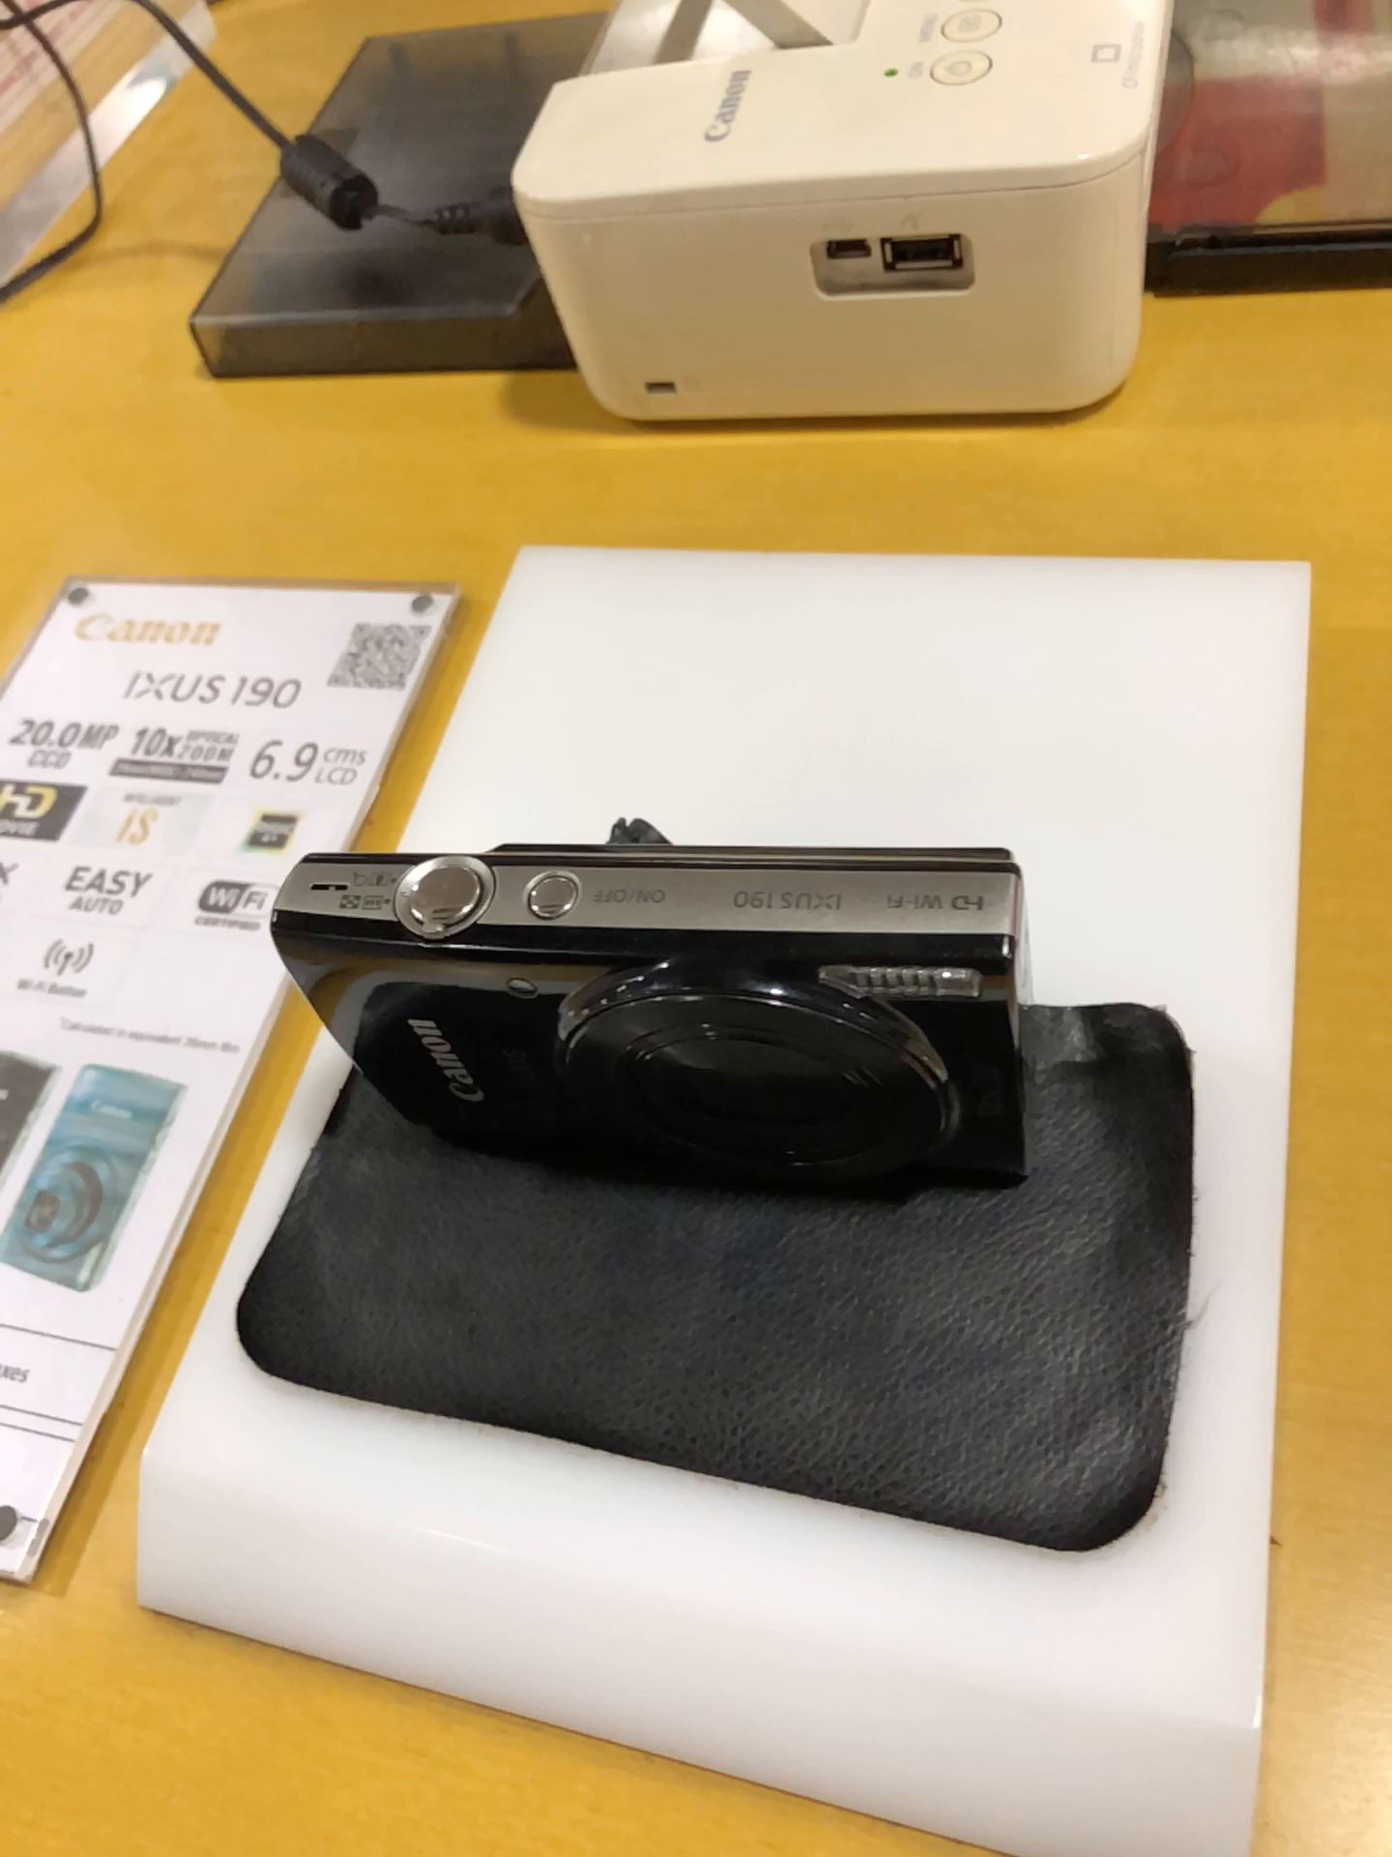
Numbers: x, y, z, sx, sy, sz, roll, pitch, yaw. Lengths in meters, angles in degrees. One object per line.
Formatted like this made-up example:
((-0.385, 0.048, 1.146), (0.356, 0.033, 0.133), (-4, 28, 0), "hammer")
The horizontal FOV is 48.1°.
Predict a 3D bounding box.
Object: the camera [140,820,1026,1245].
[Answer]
((-0.010, 0.014, 0.200), (0.100, 0.050, 0.030), (0, 56, 14), "camera")
